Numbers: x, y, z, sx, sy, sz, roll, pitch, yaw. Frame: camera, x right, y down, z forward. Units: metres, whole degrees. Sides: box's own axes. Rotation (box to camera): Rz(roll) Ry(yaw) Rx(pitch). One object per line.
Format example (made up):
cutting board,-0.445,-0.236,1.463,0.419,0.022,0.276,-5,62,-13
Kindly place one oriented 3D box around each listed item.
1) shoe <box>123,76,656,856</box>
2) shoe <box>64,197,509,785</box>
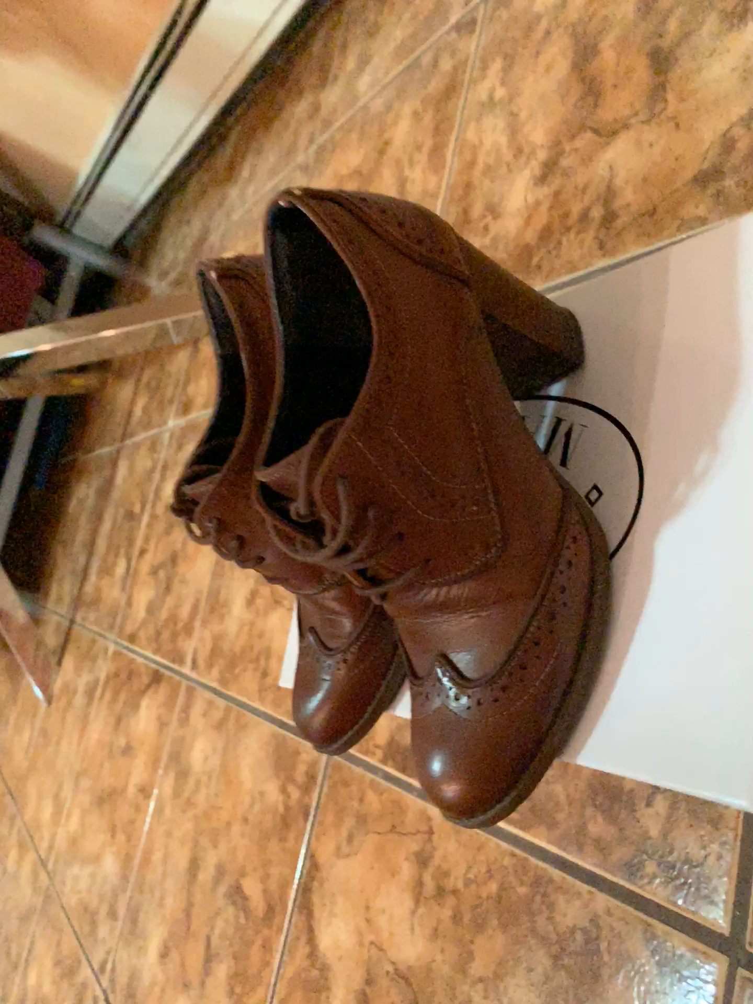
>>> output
shoe,0.013,-0.004,0.293,0.096,0.136,0.228,-14,62,56
shoe,-0.041,0.002,0.380,0.096,0.136,0.228,-2,72,59
